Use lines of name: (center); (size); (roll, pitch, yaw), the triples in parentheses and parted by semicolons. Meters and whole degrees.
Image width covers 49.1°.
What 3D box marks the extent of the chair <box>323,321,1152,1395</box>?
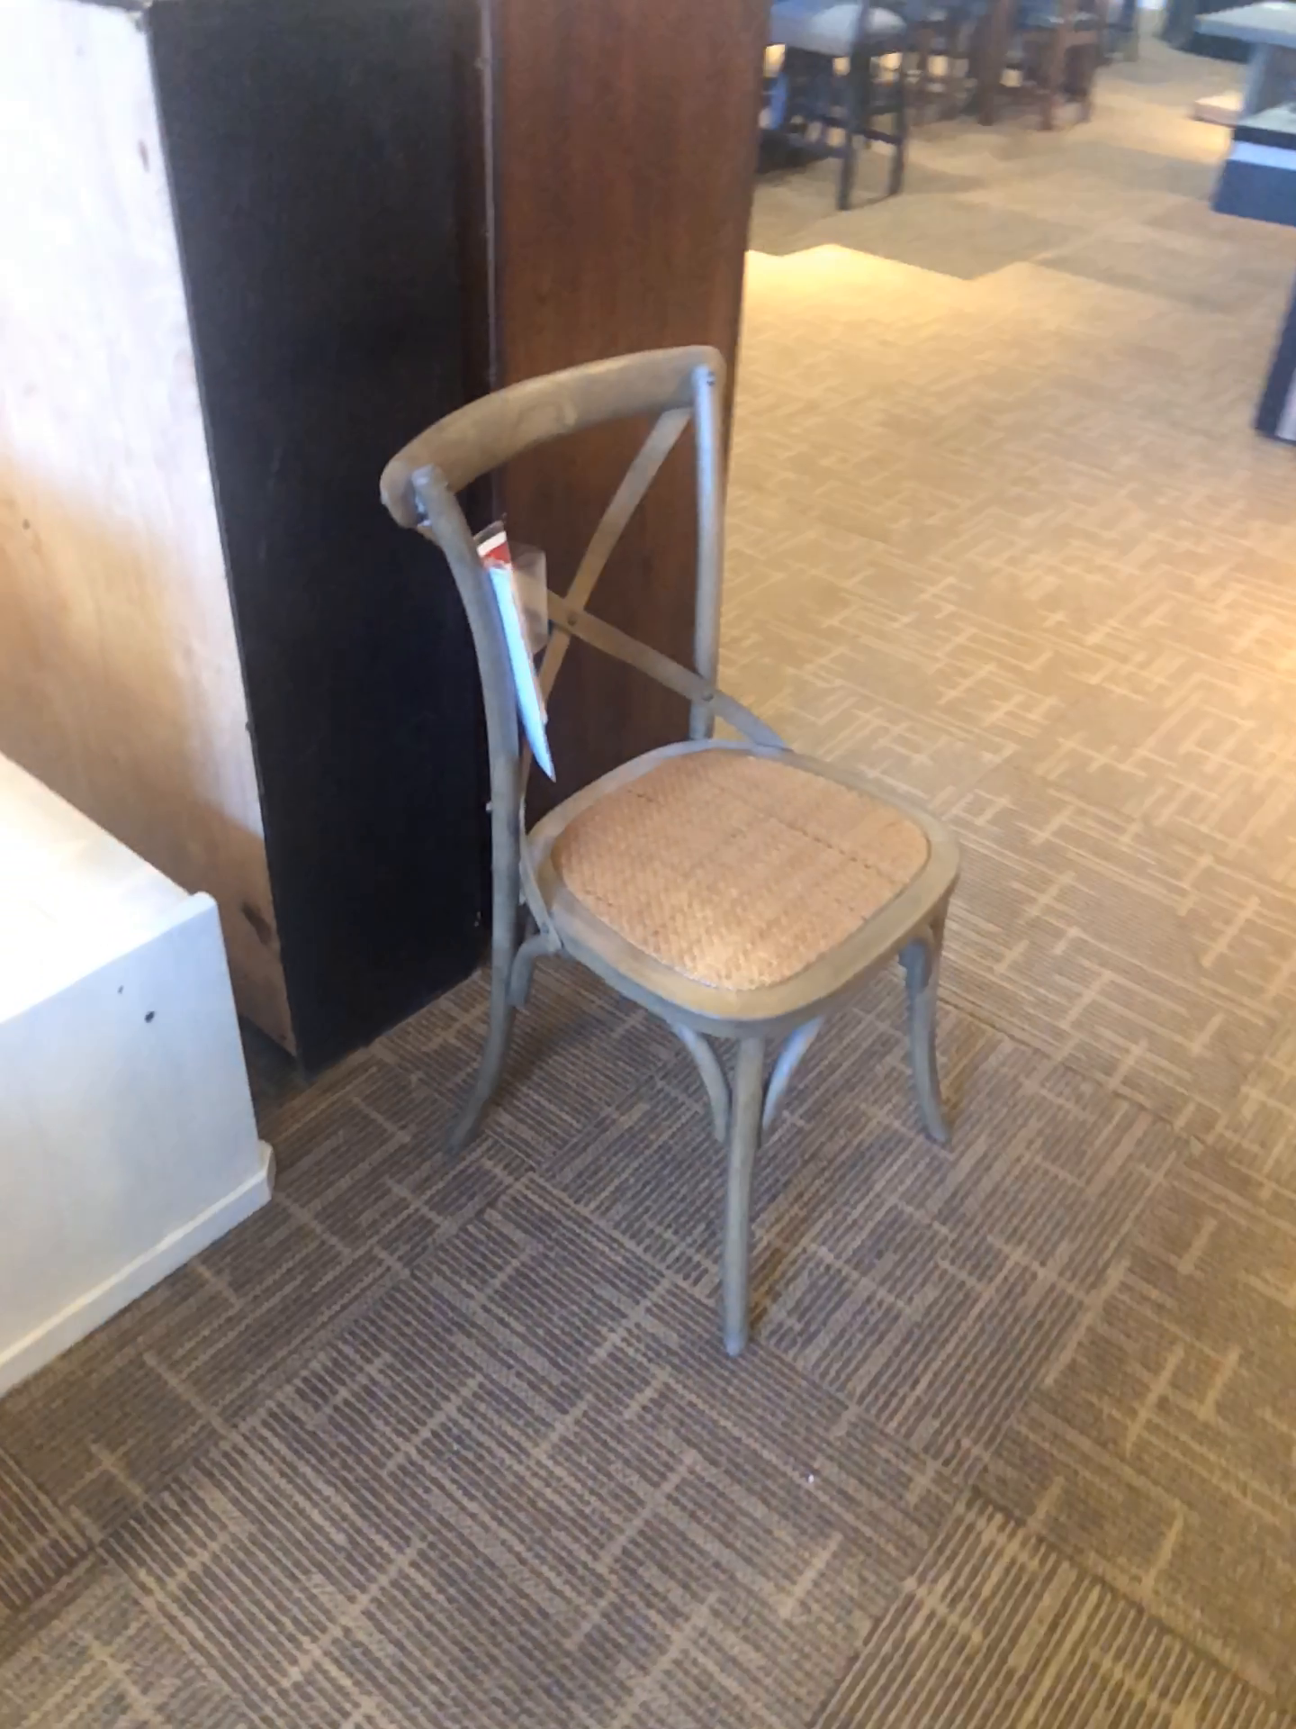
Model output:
chair: (0.058, -0.017, 1.486); (0.530, 0.860, 0.492); (30, 44, 30)
